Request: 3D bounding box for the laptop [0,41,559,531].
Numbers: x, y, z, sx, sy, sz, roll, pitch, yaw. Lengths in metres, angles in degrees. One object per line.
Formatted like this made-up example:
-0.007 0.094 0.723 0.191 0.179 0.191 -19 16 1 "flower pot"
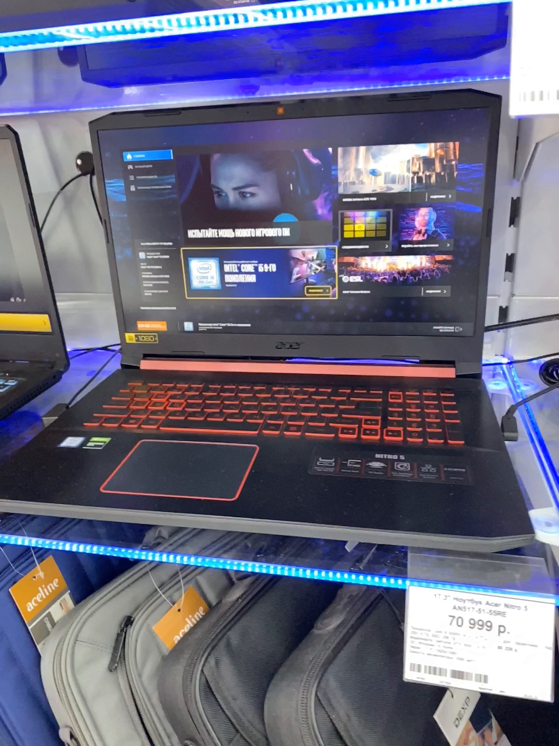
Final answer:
-0.018 -0.080 0.476 0.406 0.267 0.285 1 21 11 "laptop"
